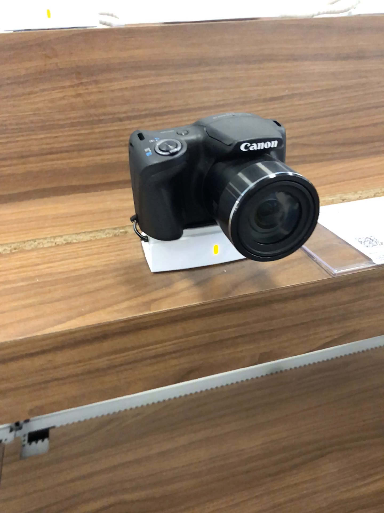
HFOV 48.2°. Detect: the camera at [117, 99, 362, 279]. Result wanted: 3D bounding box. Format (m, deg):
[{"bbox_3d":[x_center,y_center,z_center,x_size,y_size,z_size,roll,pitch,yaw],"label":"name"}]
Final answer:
[{"bbox_3d":[0.020,-0.052,0.270,0.110,0.070,0.110,-10,27,-15],"label":"camera"}]
